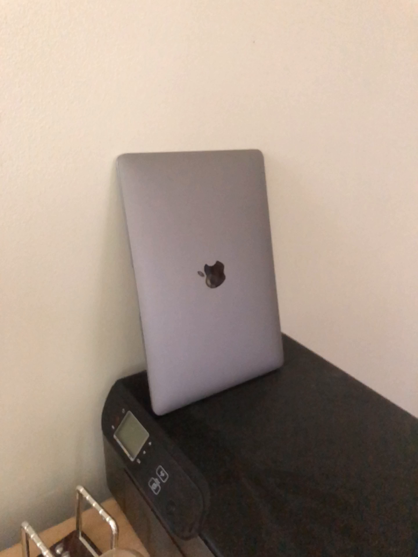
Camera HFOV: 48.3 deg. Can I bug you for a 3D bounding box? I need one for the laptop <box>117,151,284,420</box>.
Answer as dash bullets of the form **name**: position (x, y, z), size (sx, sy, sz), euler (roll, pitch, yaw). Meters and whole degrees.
- **laptop**: position (0.003, -0.004, 0.543), size (0.196, 0.275, 0.002), euler (-13, 8, -35)
